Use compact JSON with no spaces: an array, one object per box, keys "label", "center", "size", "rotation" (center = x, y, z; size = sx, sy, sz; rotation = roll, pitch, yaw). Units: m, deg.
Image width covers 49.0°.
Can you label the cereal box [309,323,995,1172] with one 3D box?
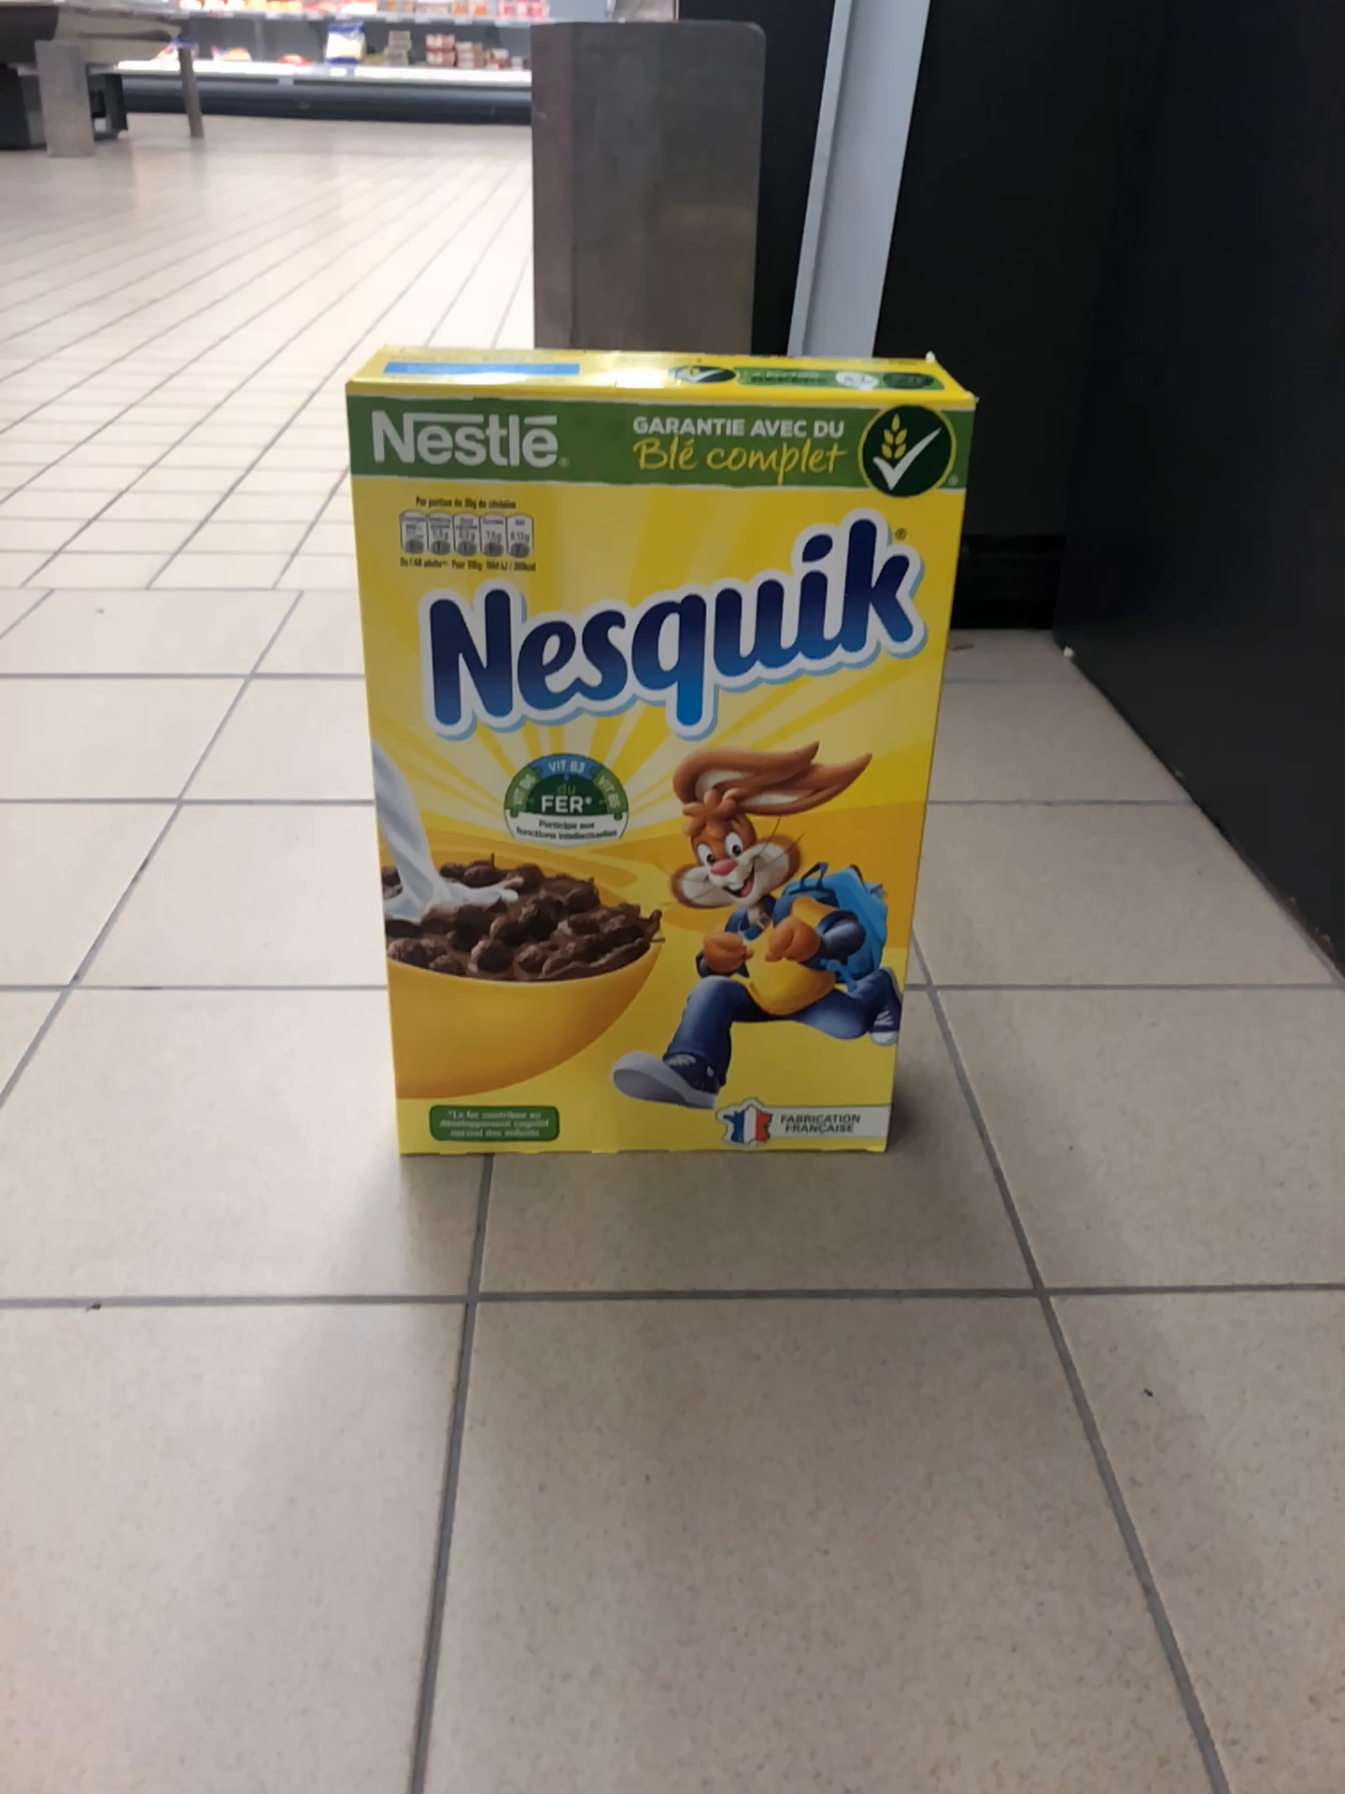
[{"label":"cereal box","center":[-0.009,-0.041,0.532],"size":[0.200,0.298,0.070],"rotation":[0,29,-2]}]
